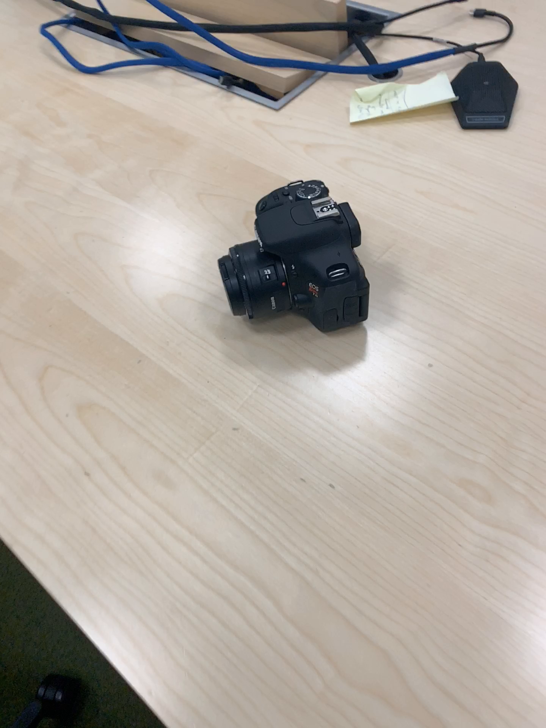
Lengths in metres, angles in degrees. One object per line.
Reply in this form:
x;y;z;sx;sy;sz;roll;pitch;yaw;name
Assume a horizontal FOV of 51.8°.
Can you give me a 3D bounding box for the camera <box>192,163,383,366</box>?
0.011;-0.091;0.506;0.127;0.085;0.130;-17;55;-4;camera
